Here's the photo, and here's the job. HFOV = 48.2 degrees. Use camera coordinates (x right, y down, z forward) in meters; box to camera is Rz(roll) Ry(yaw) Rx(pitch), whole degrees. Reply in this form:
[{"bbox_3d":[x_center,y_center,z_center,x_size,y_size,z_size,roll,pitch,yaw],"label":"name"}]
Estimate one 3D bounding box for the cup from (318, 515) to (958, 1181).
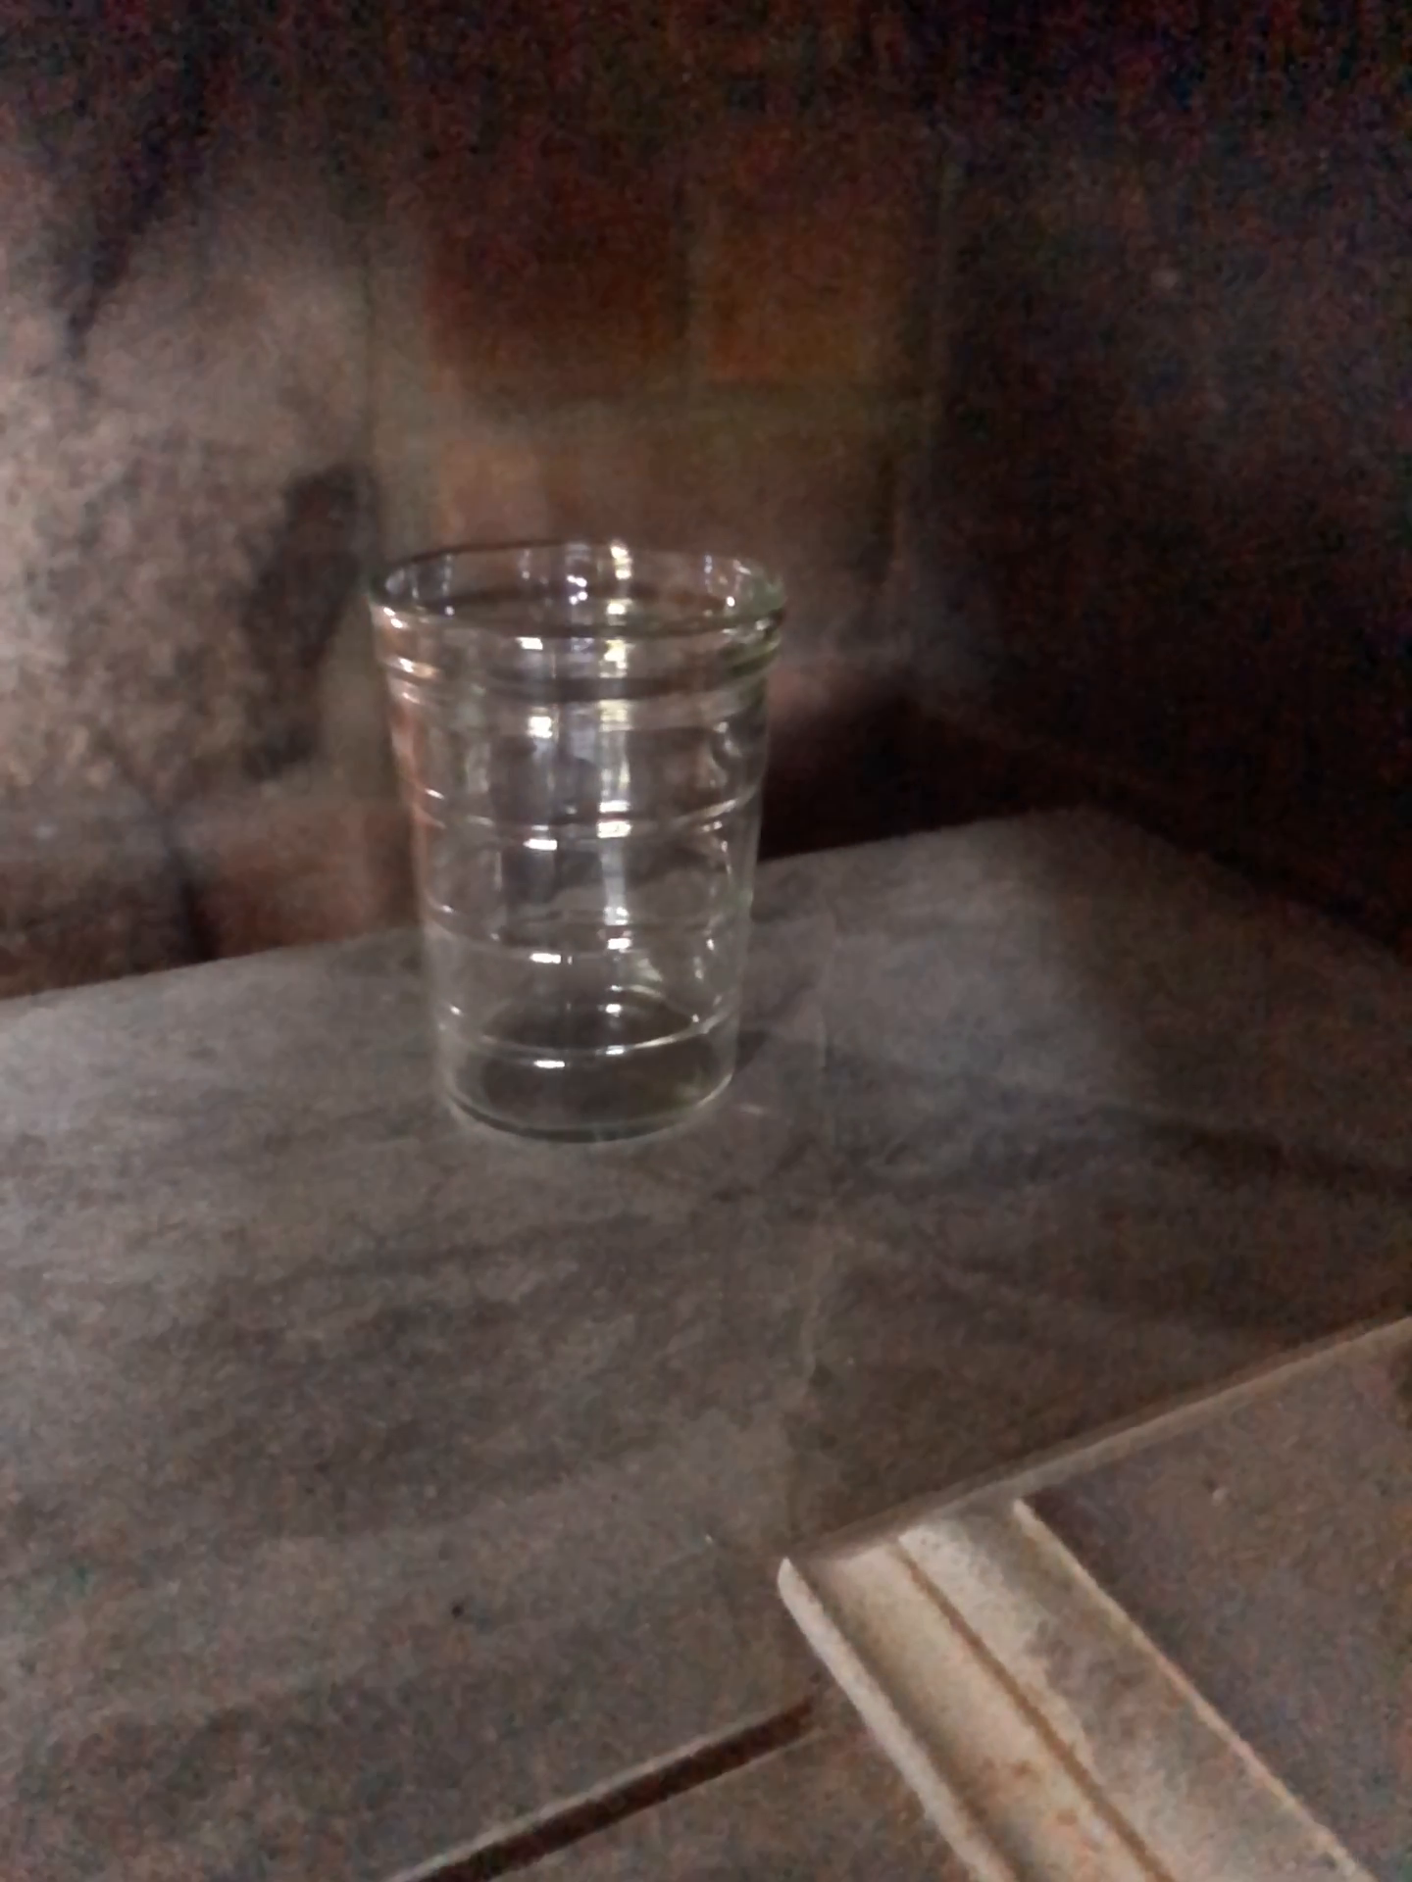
[{"bbox_3d":[-0.010,-0.021,0.259,0.070,0.080,0.070,0,23,0],"label":"cup"}]
